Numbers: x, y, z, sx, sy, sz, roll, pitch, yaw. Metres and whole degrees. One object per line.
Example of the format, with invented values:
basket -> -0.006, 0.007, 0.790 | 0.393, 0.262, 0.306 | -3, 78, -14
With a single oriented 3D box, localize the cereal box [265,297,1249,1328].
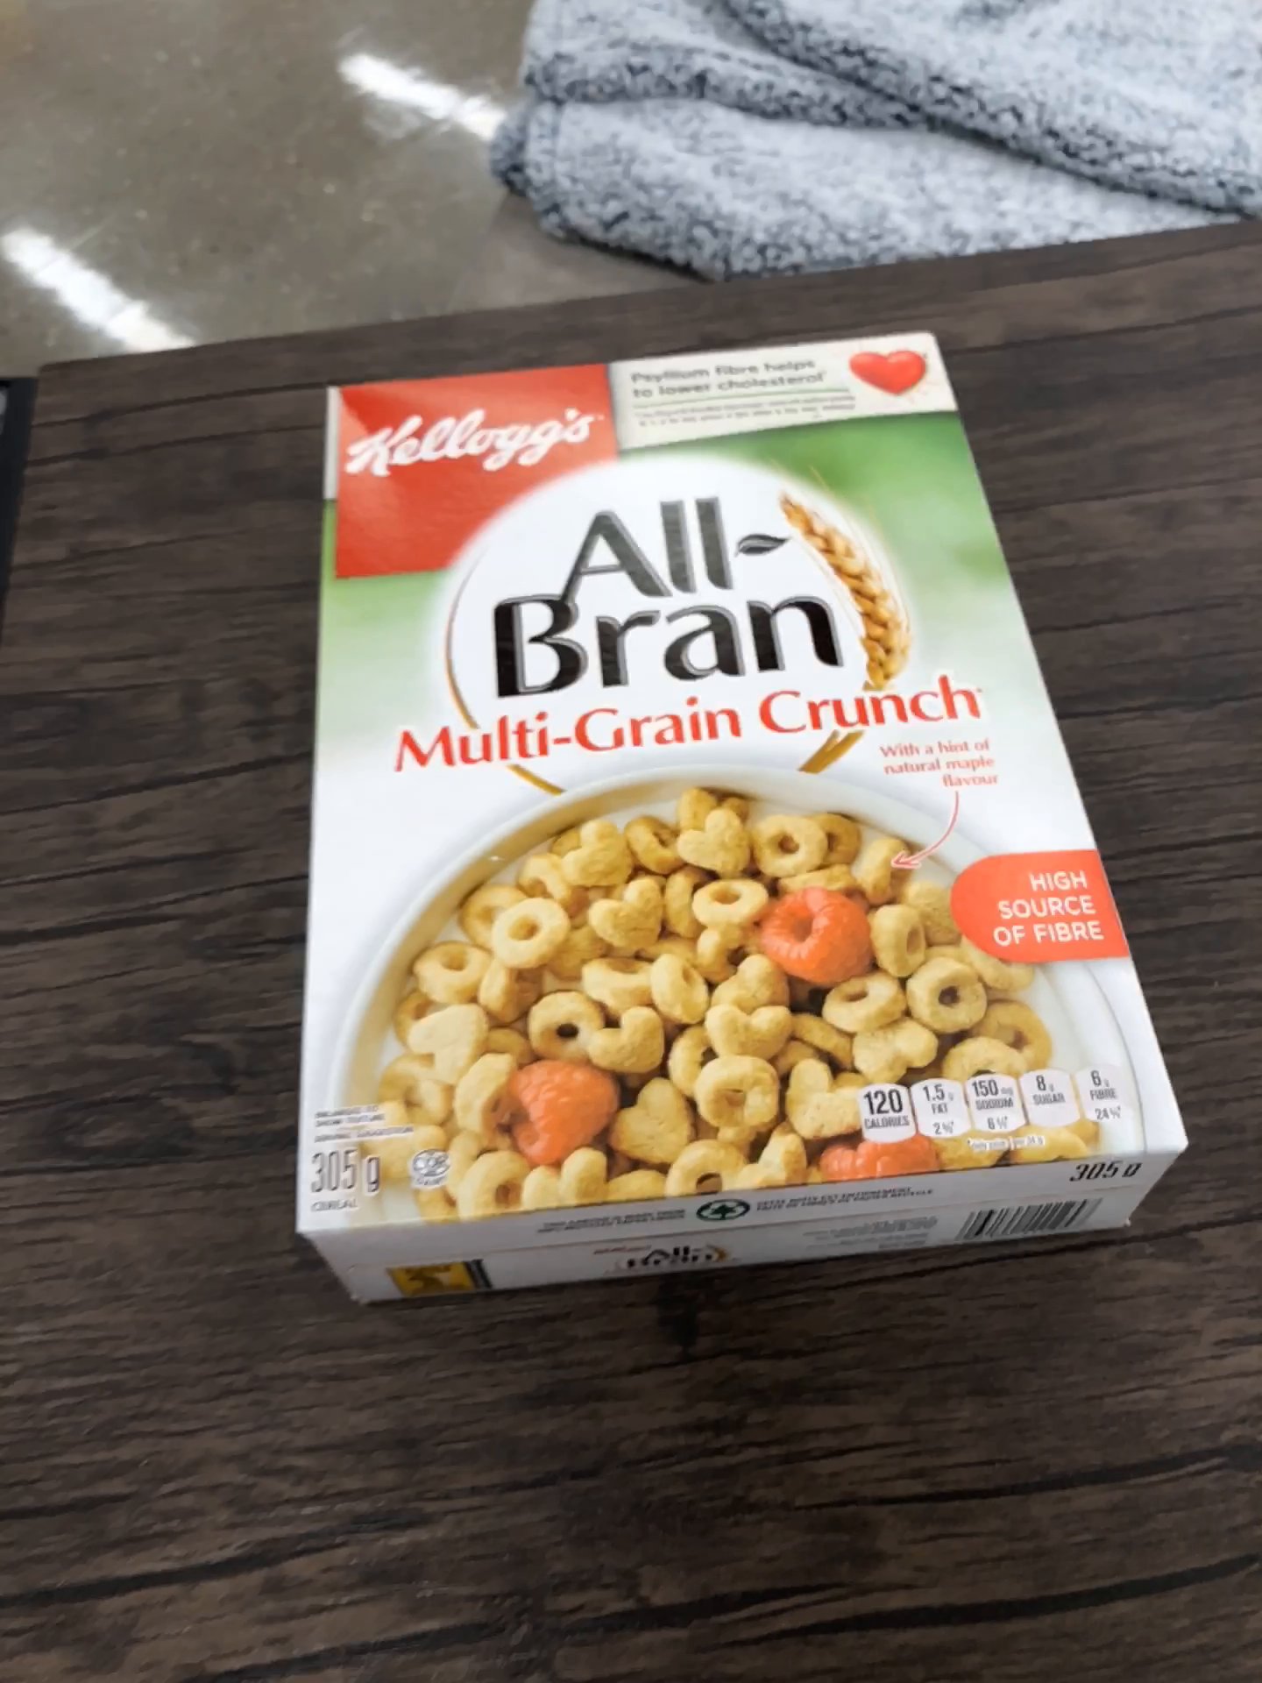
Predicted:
cereal box -> 0.016, -0.030, 0.412 | 0.210, 0.070, 0.301 | -5, 55, -1
